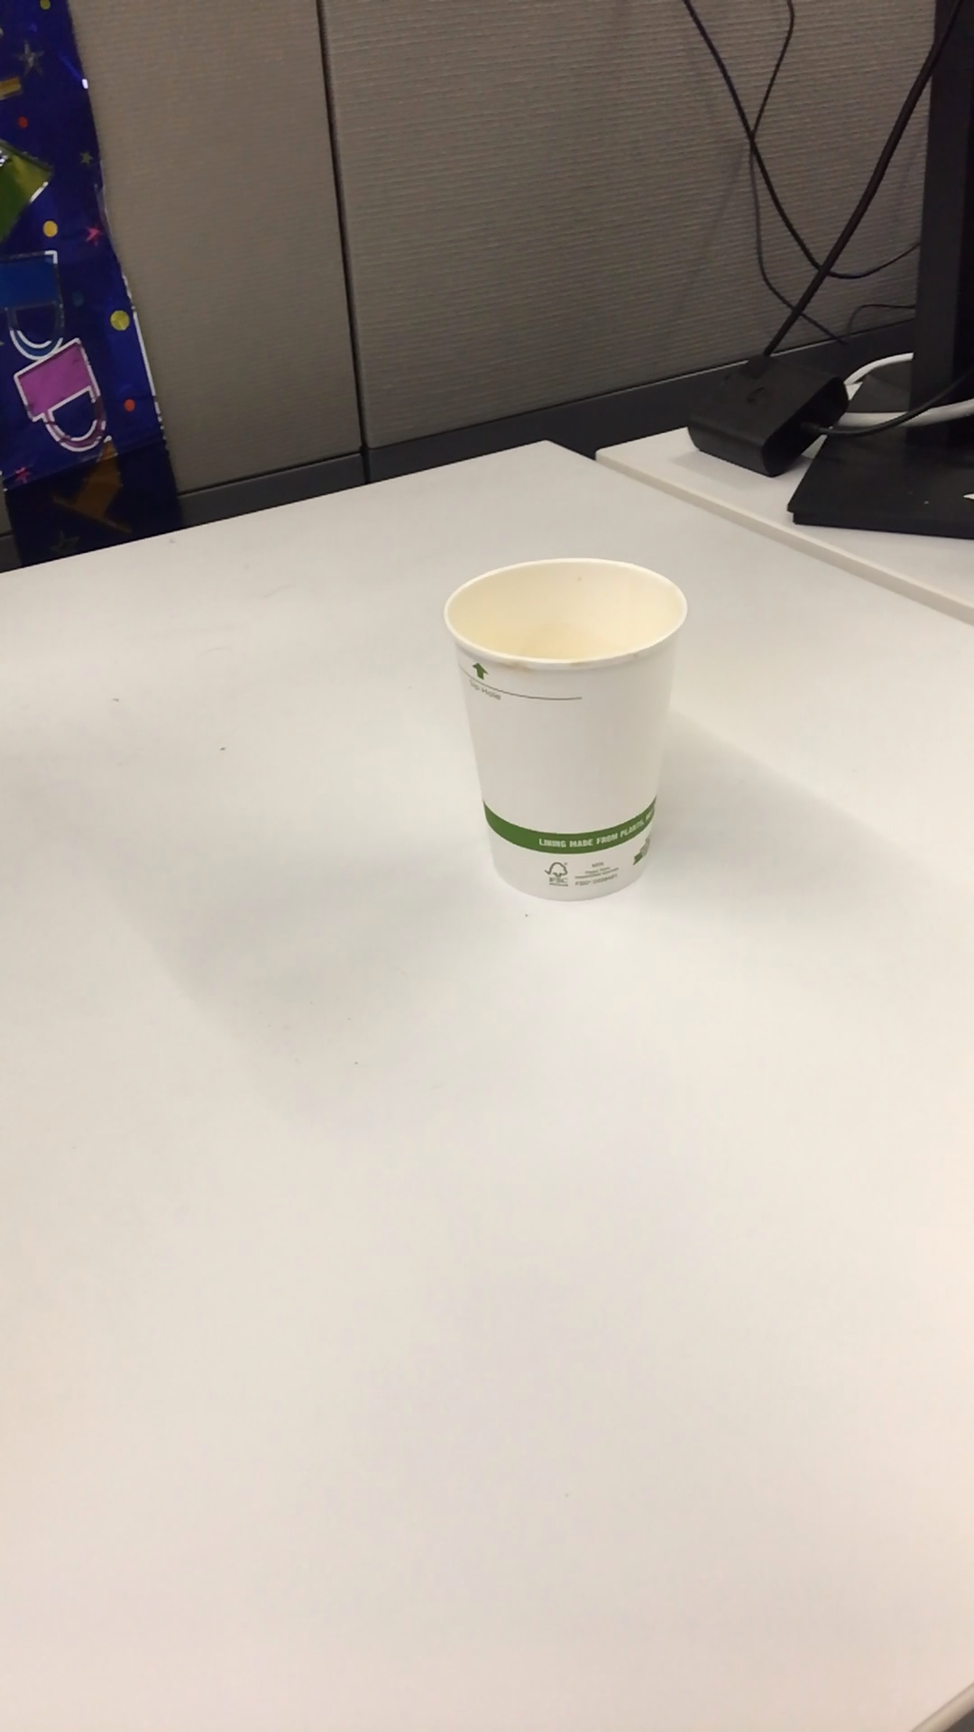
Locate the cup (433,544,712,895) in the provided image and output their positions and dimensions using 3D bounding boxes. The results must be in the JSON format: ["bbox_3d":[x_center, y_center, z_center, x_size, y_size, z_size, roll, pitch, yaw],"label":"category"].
[{"bbox_3d":[0.031,-0.054,0.527,0.090,0.100,0.080,-1,34,3],"label":"cup"}]
